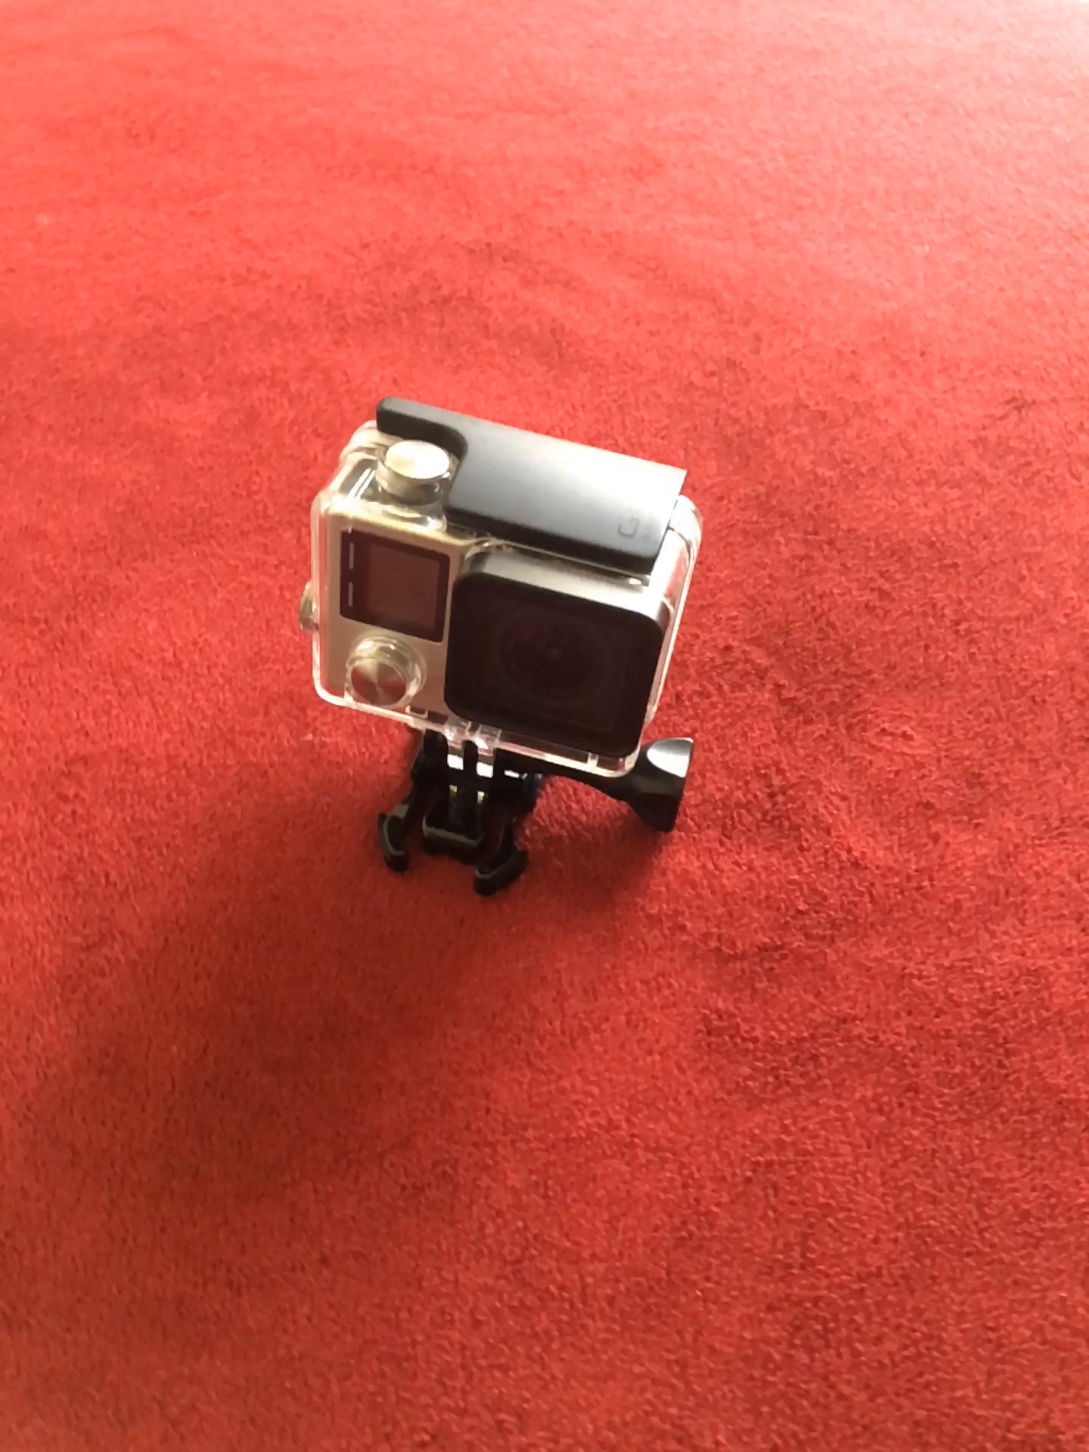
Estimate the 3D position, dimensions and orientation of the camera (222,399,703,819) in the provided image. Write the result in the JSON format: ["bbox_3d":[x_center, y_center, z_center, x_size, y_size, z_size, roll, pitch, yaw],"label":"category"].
[{"bbox_3d":[-0.013,-0.022,0.222,0.072,0.050,0.040,12,44,9],"label":"camera"}]
